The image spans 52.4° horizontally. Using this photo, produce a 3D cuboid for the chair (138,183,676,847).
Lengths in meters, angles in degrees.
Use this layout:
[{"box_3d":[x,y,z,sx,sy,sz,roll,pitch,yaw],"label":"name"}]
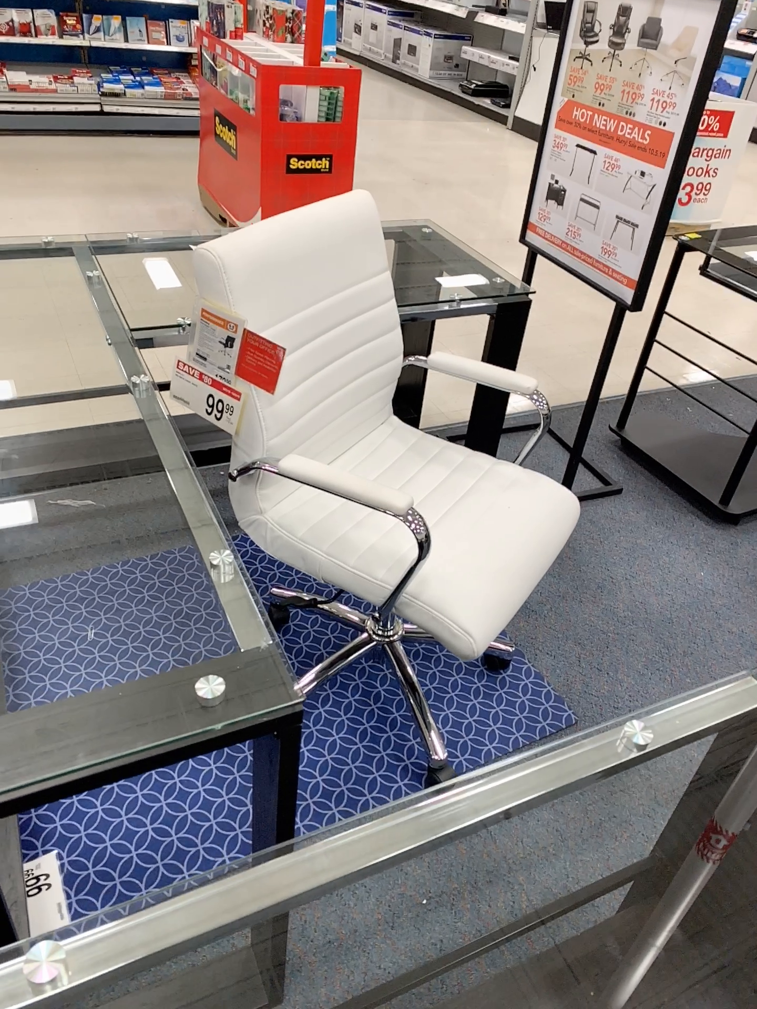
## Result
[{"box_3d":[0.034,-0.005,1.517,0.662,0.963,0.617,23,39,20],"label":"chair"}]
